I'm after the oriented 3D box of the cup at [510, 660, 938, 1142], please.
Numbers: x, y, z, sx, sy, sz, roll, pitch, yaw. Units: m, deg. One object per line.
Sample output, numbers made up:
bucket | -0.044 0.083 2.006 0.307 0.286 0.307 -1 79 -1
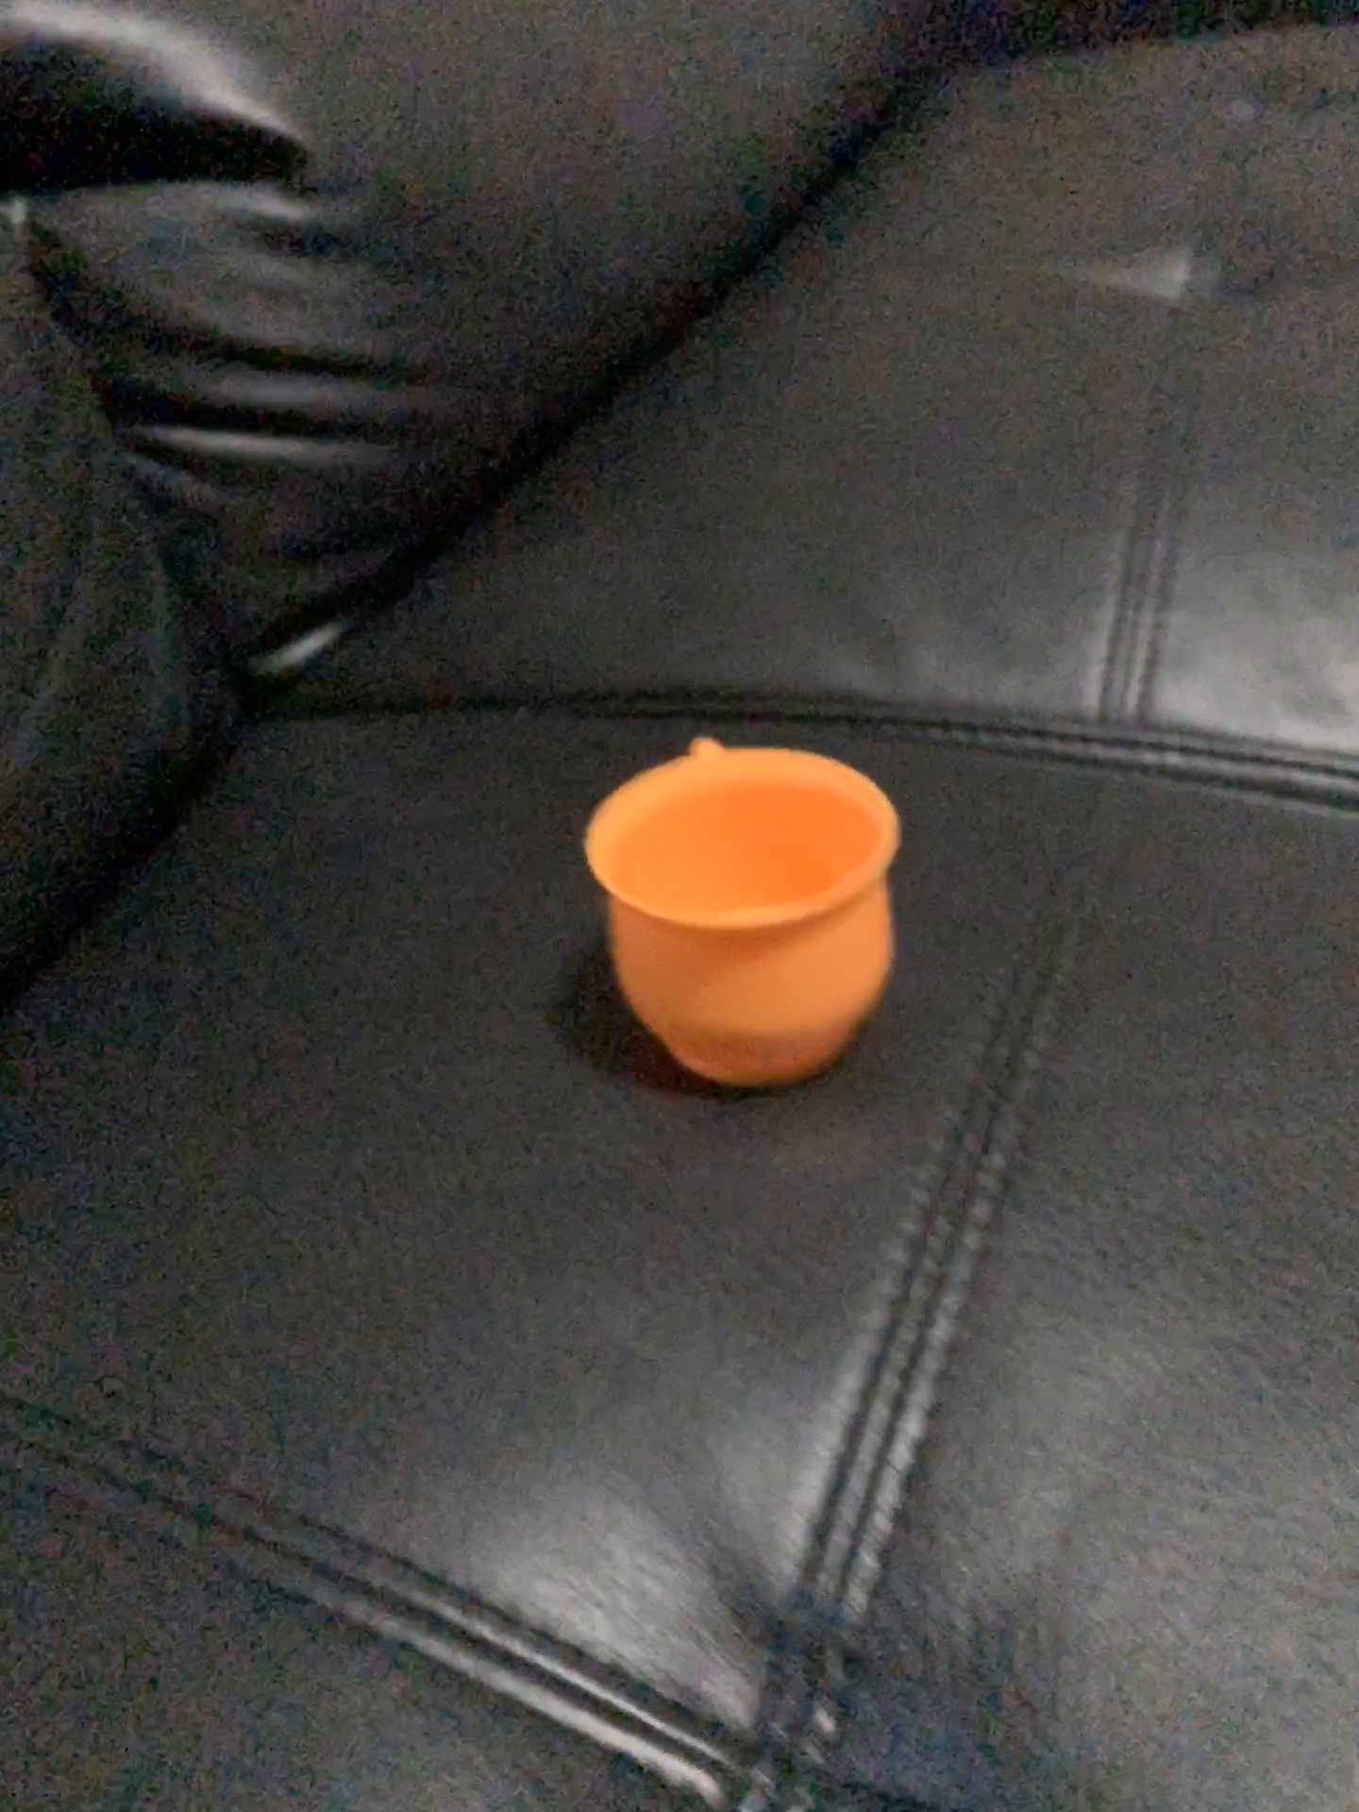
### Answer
cup | 0.006 -0.005 0.283 0.063 0.046 0.081 -10 38 -8
